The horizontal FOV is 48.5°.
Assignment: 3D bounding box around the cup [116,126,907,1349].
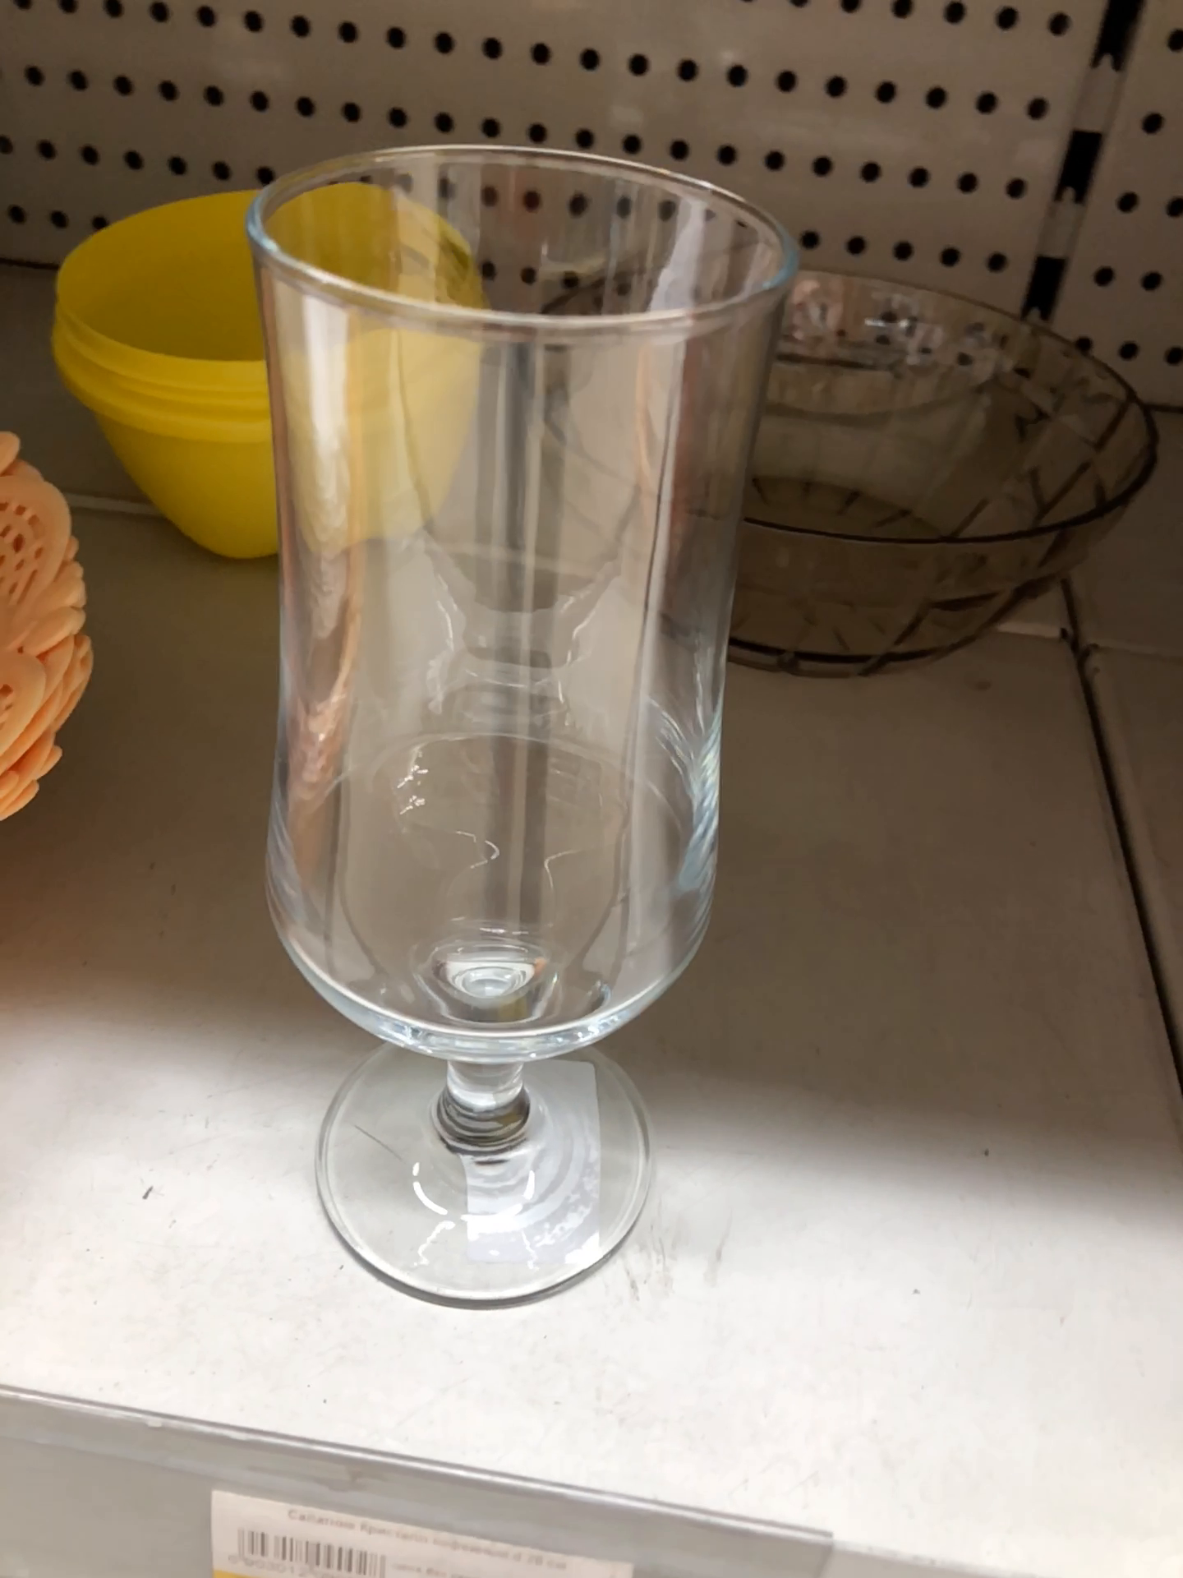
[{"bbox_3d":[-0.016,0.006,0.220,0.078,0.194,0.076,3,39,-2],"label":"cup"}]
